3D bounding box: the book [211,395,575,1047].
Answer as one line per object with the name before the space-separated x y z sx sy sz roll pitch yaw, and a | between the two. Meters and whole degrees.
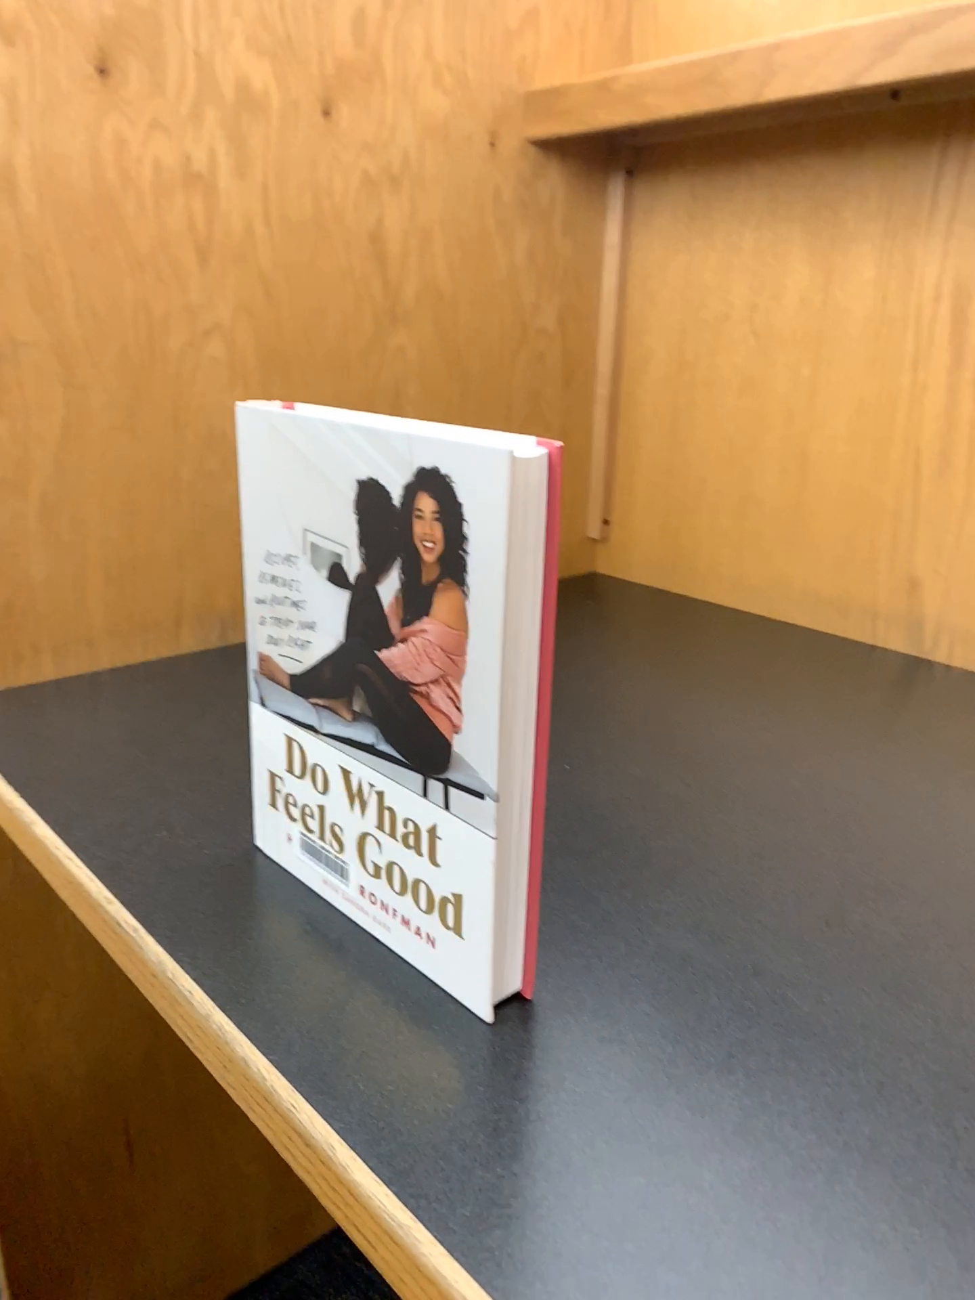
book | -0.054 0.018 0.460 0.030 0.249 0.211 -14 23 -41
